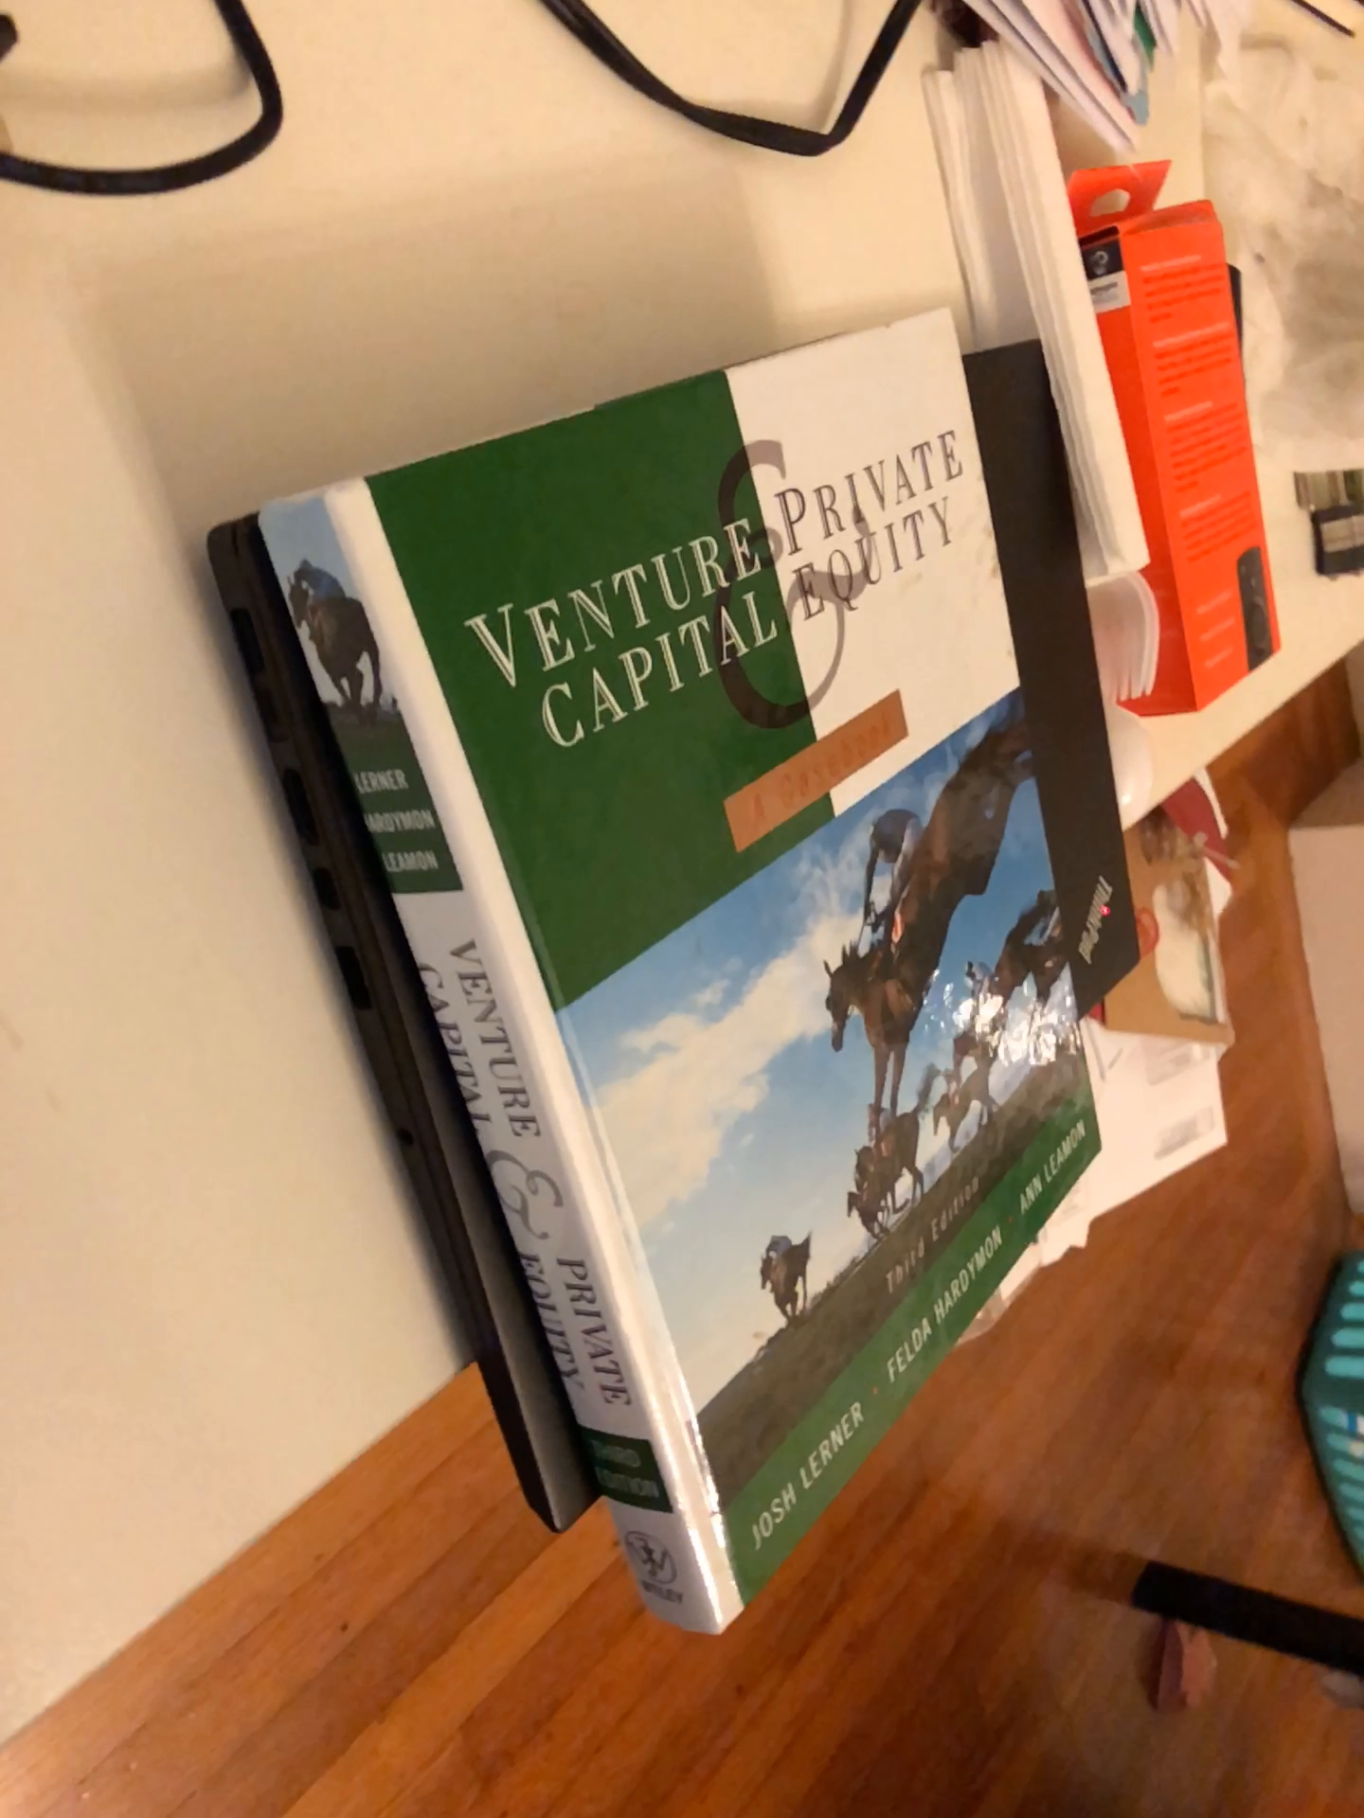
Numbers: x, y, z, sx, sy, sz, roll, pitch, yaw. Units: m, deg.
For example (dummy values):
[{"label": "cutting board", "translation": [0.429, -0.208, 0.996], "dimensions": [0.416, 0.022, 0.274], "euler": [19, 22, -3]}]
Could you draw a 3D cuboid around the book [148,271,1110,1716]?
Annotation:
[{"label": "book", "translation": [0.022, 0.002, 0.364], "dimensions": [0.221, 0.030, 0.270], "euler": [-34, 115, -45]}]
